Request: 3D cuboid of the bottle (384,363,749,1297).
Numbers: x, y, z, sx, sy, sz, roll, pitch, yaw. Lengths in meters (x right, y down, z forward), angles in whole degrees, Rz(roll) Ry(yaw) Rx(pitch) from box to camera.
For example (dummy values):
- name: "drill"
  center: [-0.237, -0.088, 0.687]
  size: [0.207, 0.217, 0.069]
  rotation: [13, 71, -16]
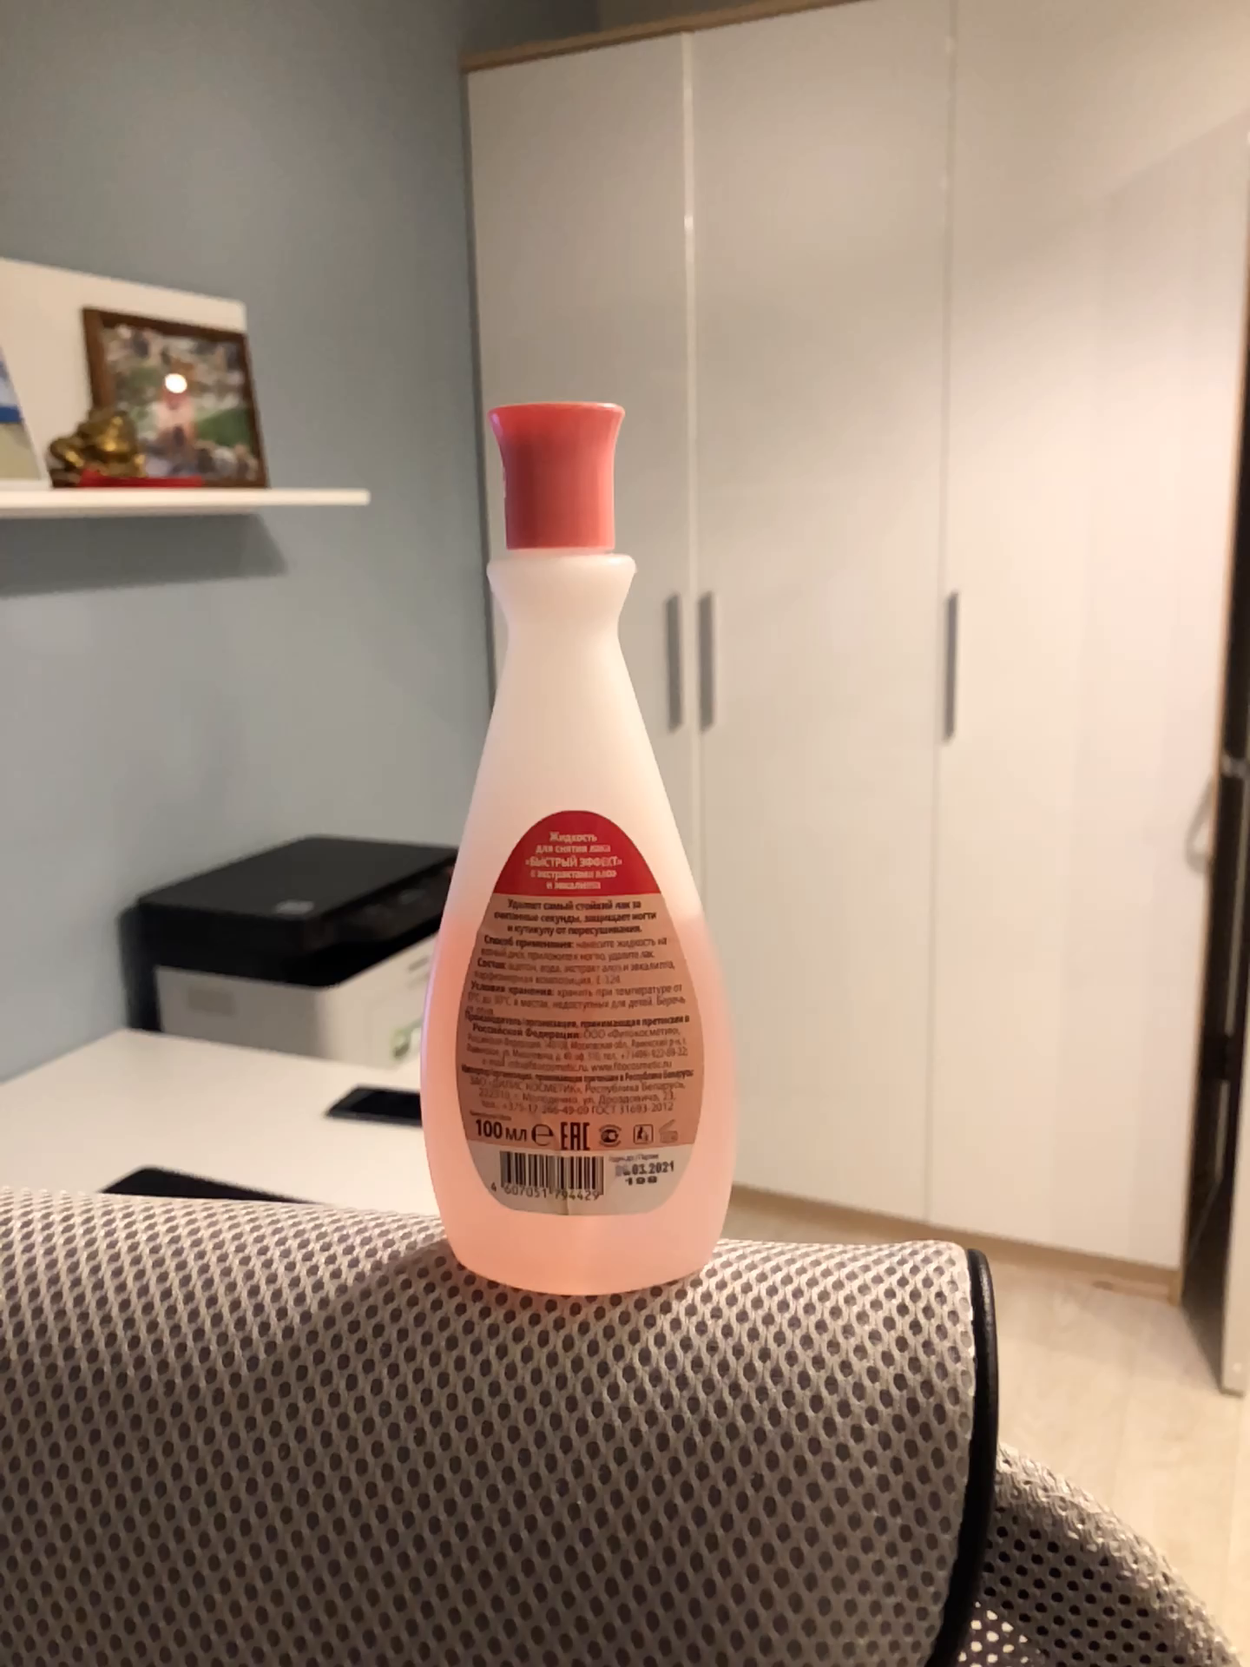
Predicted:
- name: "bottle"
  center: [-0.007, 0.001, 0.249]
  size: [0.056, 0.158, 0.039]
  rotation: [-1, 12, 1]
